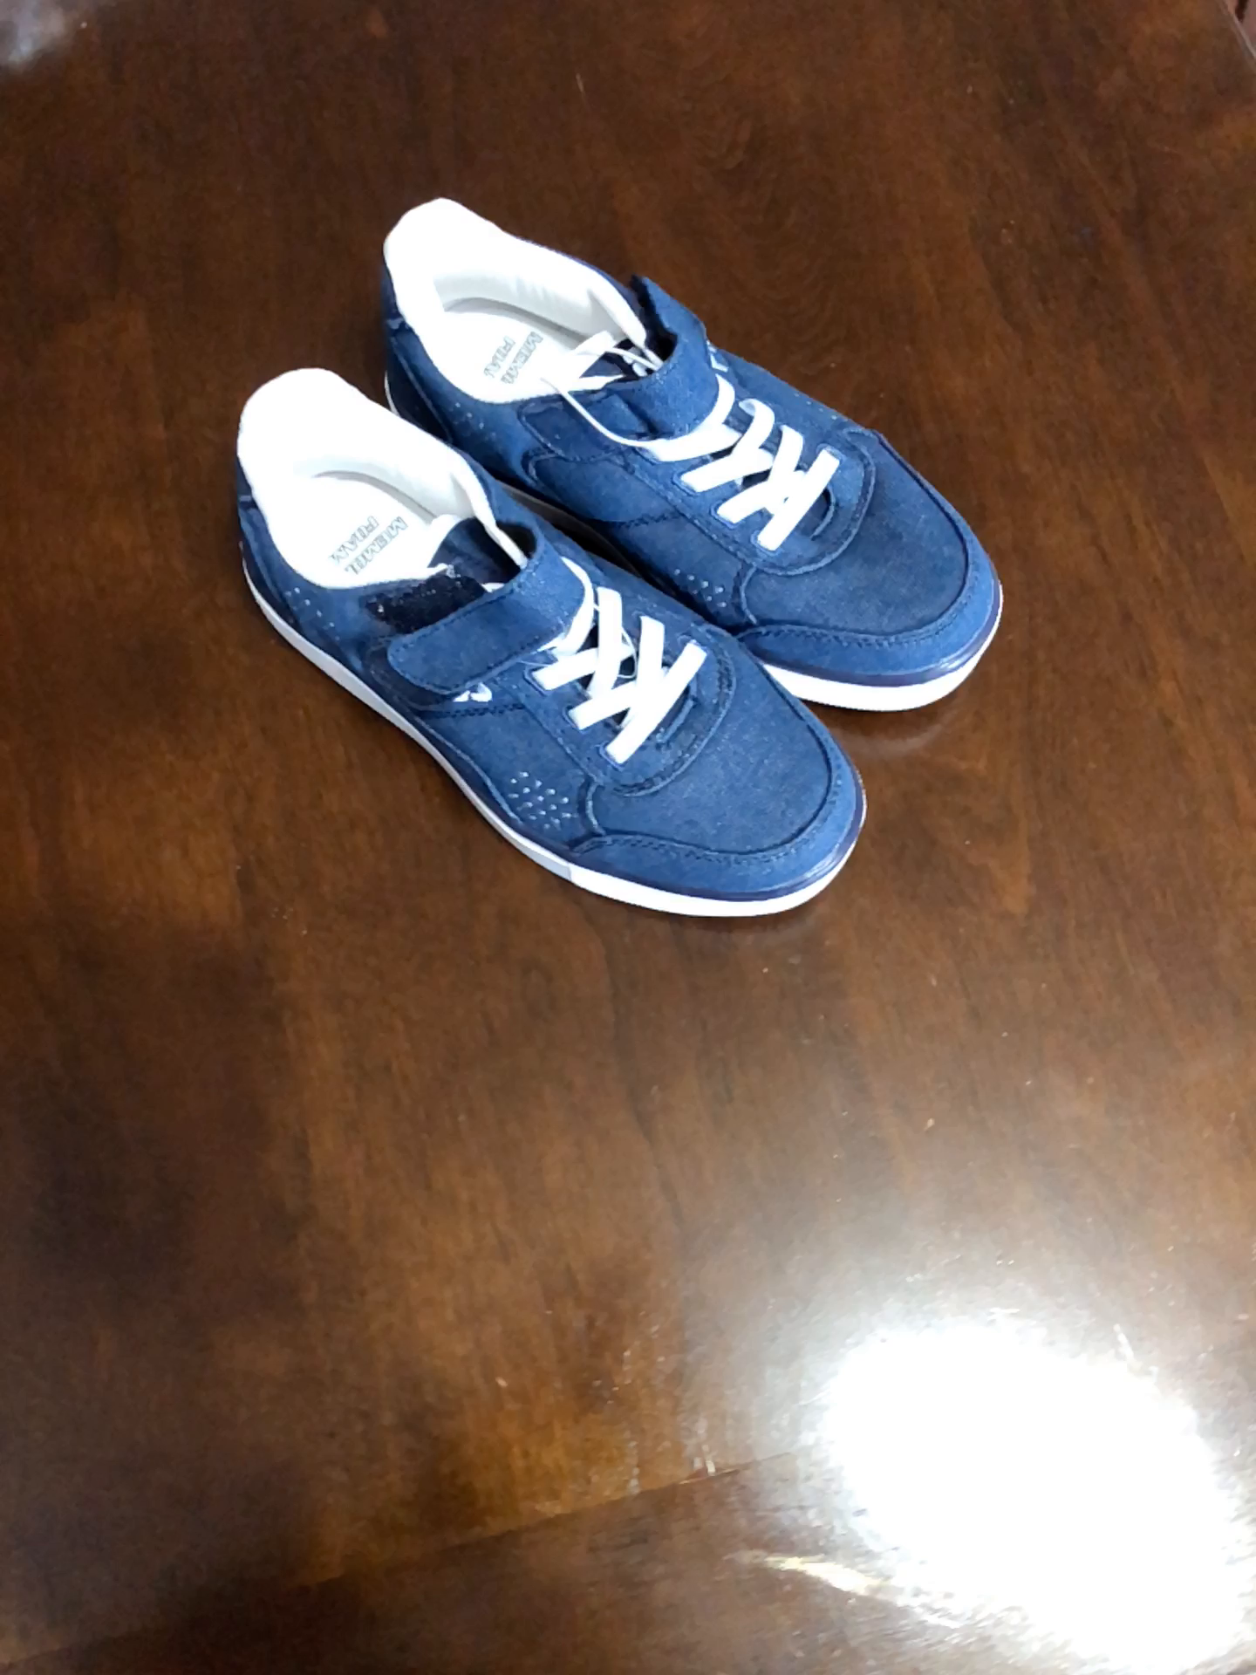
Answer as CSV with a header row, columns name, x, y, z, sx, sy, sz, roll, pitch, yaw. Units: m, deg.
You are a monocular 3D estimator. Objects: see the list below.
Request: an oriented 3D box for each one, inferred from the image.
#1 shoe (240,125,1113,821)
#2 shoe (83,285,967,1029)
name,x,y,z,sx,sy,sz,roll,pitch,yaw
shoe,0.013,-0.117,0.450,0.240,0.080,0.100,29,75,10
shoe,-0.032,-0.054,0.426,0.240,0.080,0.090,34,76,11
